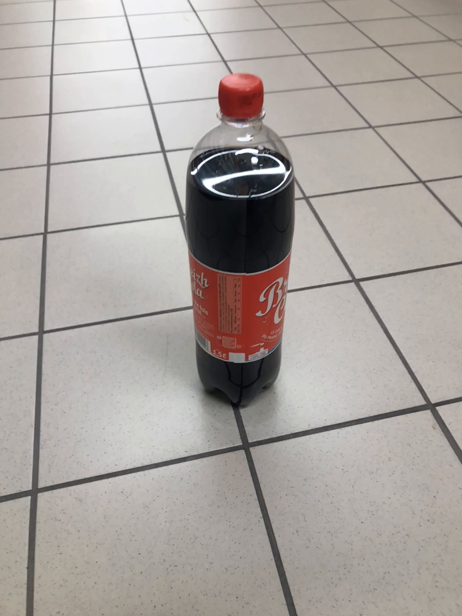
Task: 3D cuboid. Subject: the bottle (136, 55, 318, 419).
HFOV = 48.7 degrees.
[{"bbox_3d":[0.002,-0.041,0.454,0.100,0.308,0.101,0,44,0],"label":"bottle"}]
